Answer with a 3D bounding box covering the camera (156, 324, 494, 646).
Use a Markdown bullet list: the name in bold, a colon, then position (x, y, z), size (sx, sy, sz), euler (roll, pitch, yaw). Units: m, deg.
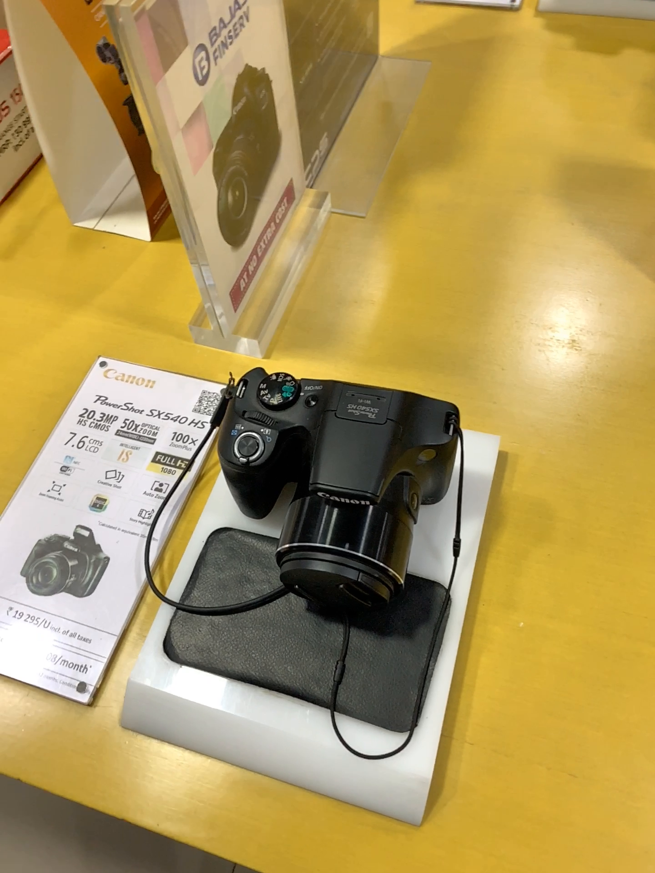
- **camera**: position (0.006, 0.021, 0.314), size (0.120, 0.070, 0.110), euler (10, 60, 12)
